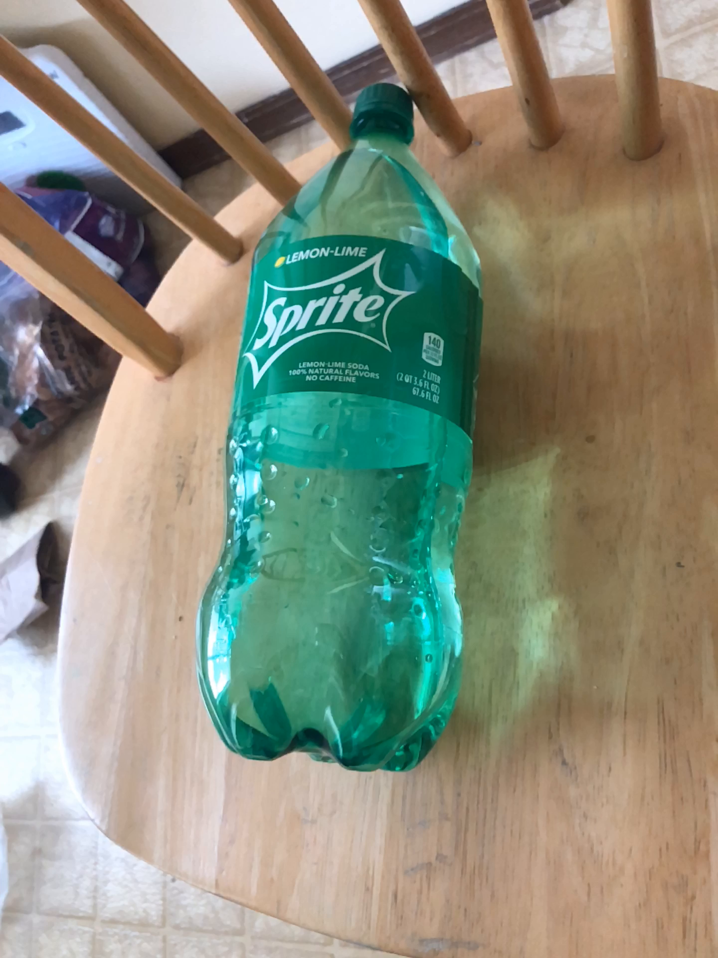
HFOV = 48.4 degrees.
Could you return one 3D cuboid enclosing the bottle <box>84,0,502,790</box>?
[{"bbox_3d":[-0.008,-0.040,0.330,0.110,0.110,0.300,-2,72,19],"label":"bottle"}]
